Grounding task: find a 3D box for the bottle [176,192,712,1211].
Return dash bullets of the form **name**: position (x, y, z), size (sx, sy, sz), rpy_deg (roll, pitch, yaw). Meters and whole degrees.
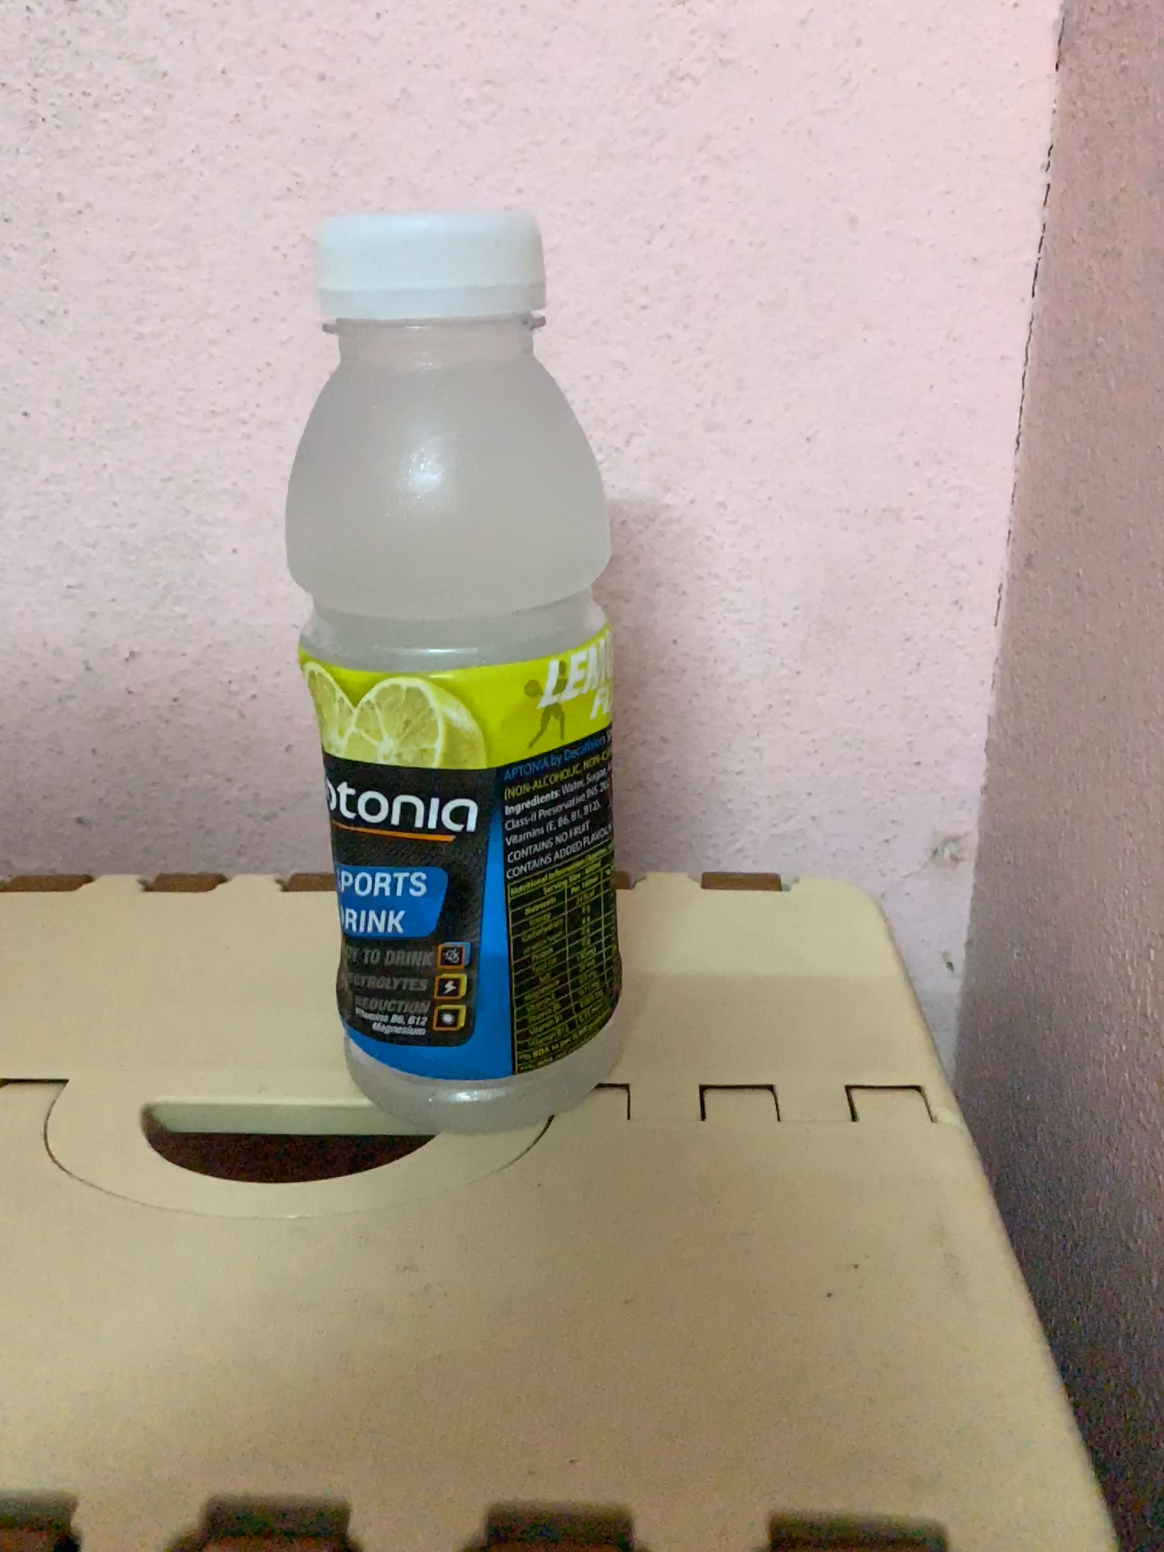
- **bottle**: position (-0.020, -0.015, 0.242), size (0.070, 0.179, 0.060), rpy_deg (12, 26, 29)
